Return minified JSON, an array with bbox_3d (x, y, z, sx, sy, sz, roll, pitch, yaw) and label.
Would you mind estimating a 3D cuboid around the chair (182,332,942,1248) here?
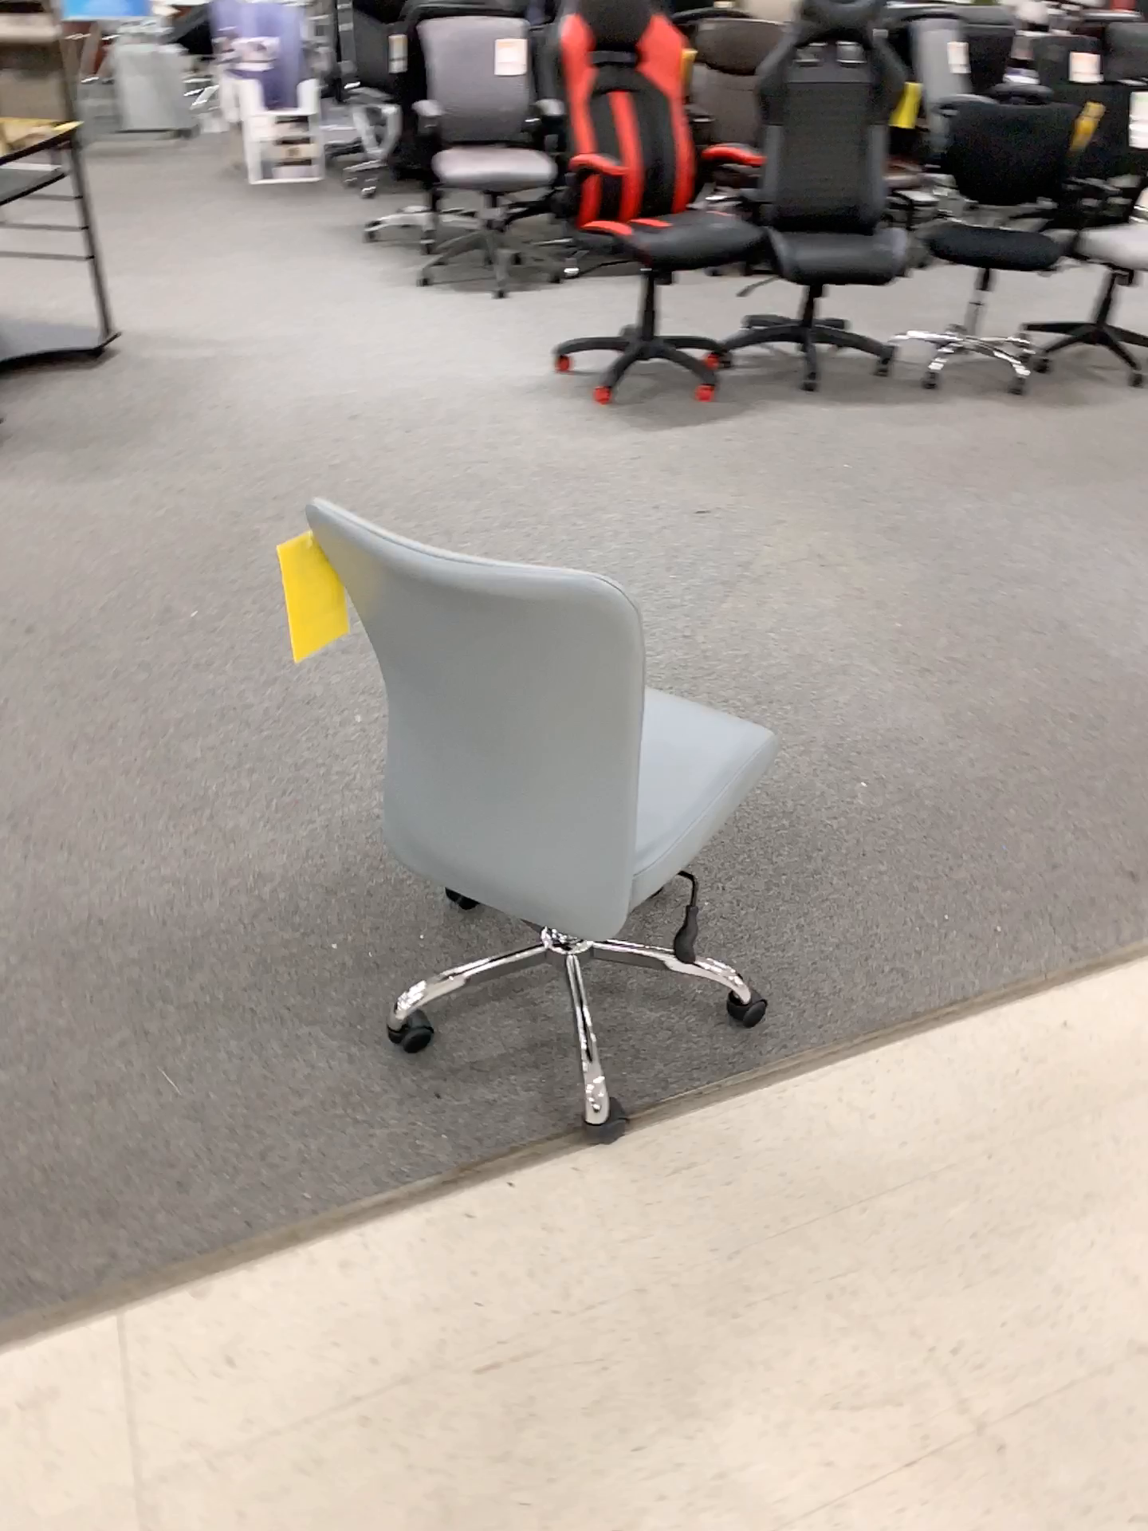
[{"bbox_3d":[0.004,-0.004,1.574,0.601,0.875,0.653,22,40,24],"label":"chair"}]
